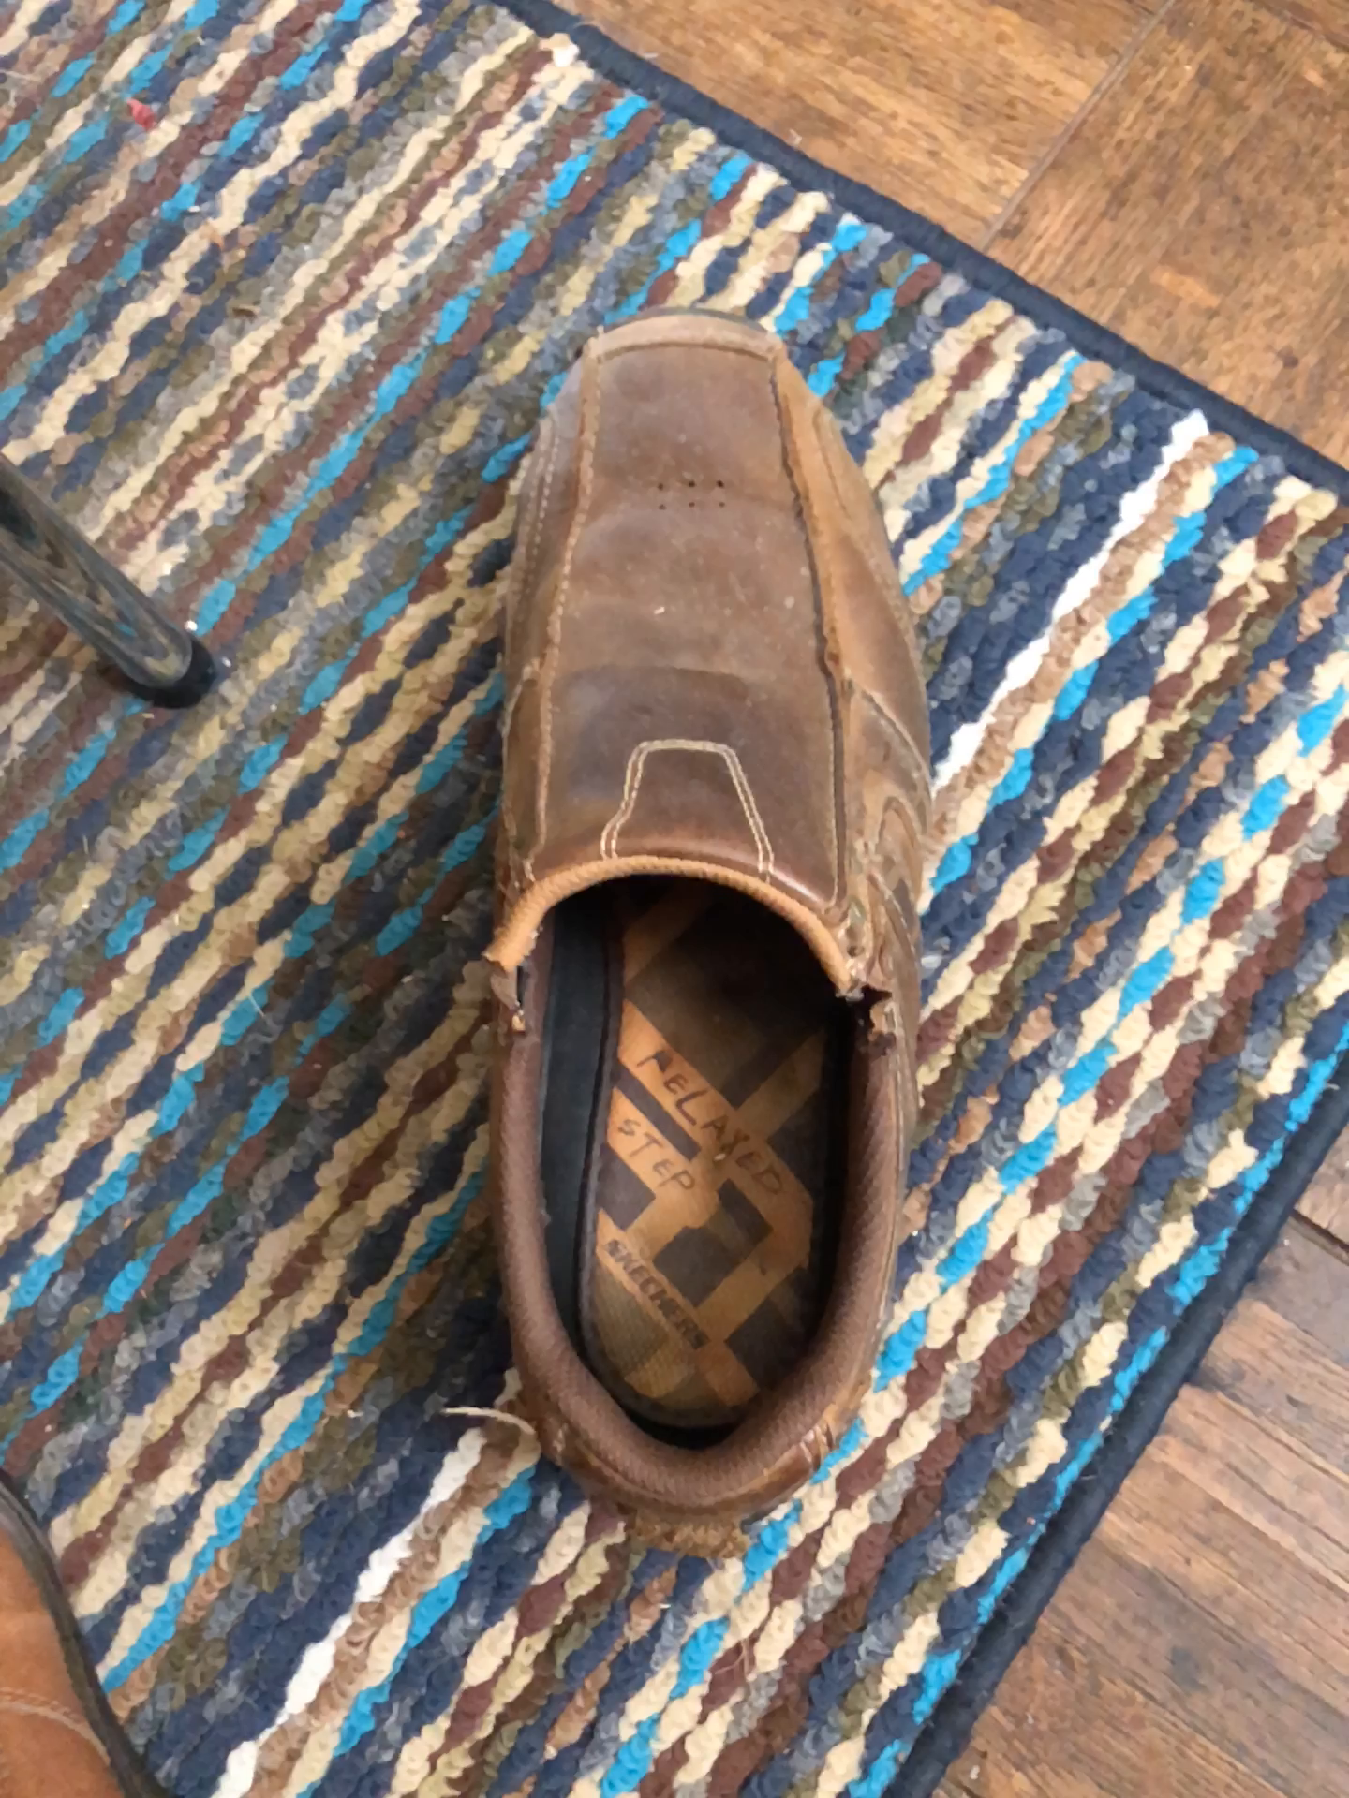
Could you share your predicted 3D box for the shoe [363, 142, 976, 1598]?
[{"bbox_3d":[0.004,-0.010,0.328,0.100,0.100,0.280,1,75,2],"label":"shoe"}]
